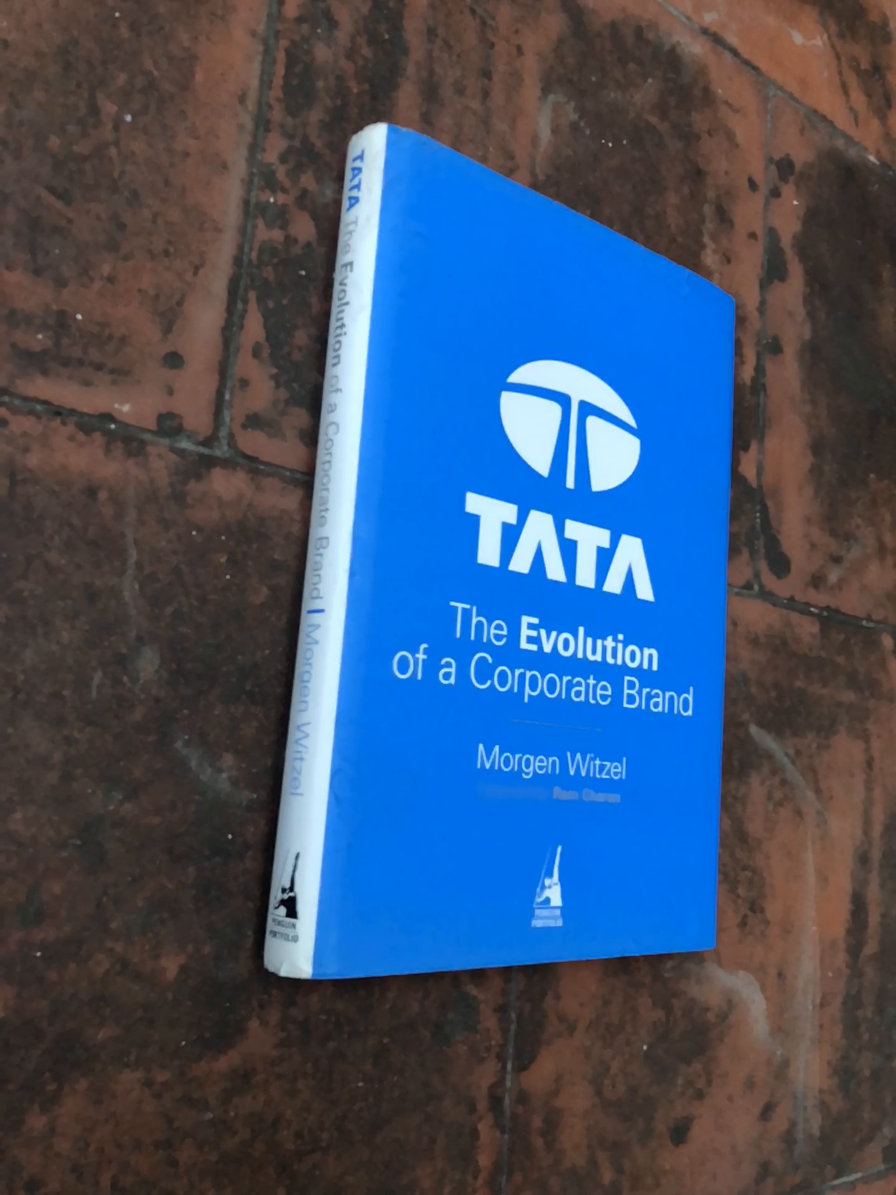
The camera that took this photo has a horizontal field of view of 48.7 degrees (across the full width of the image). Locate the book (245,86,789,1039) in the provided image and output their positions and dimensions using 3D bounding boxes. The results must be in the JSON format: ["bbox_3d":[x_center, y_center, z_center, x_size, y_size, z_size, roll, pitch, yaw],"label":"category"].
[{"bbox_3d":[0.036,-0.003,0.308,0.171,0.040,0.240,11,77,-35],"label":"book"}]
